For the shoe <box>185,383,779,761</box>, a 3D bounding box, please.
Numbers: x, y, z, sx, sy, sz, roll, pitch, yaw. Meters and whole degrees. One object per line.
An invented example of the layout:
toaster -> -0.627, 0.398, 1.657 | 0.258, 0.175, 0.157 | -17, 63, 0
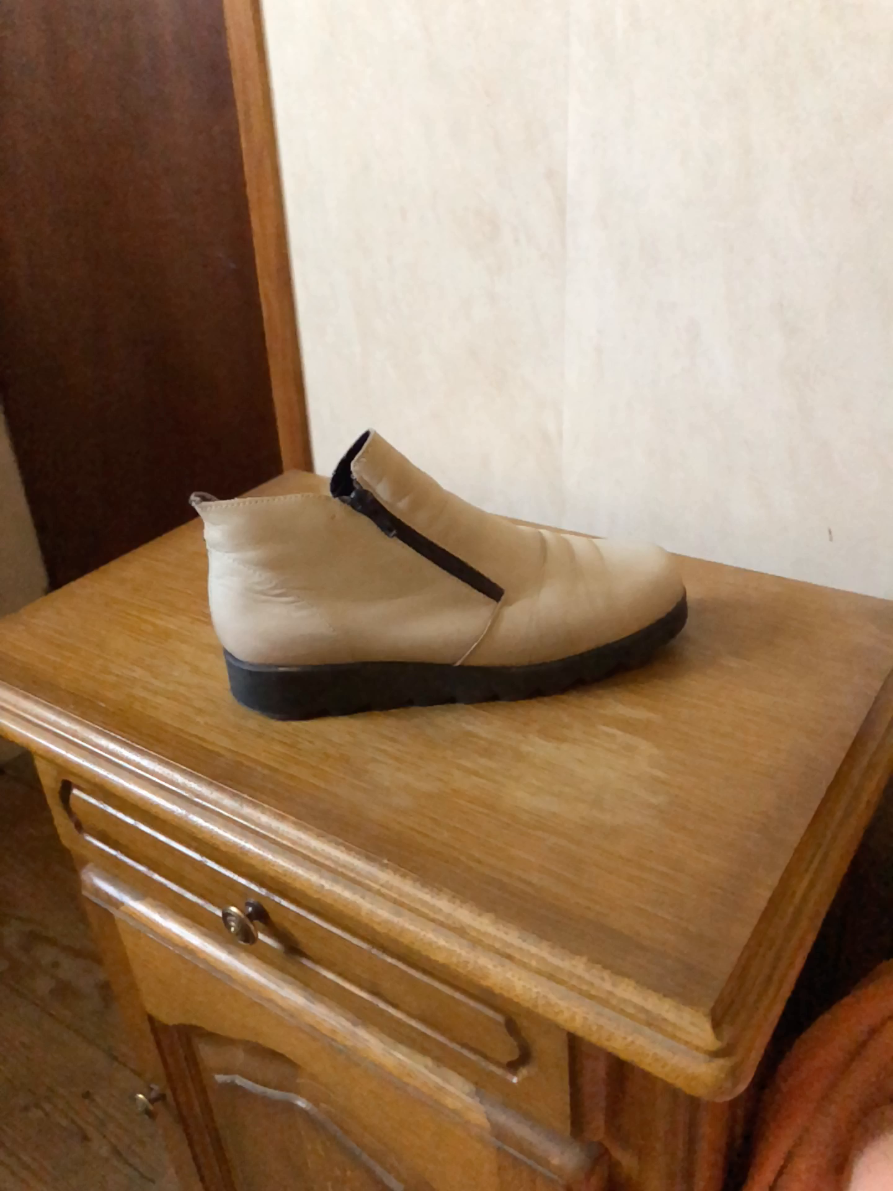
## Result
shoe -> 0.015, -0.019, 0.509 | 0.270, 0.129, 0.100 | -8, 28, -9
